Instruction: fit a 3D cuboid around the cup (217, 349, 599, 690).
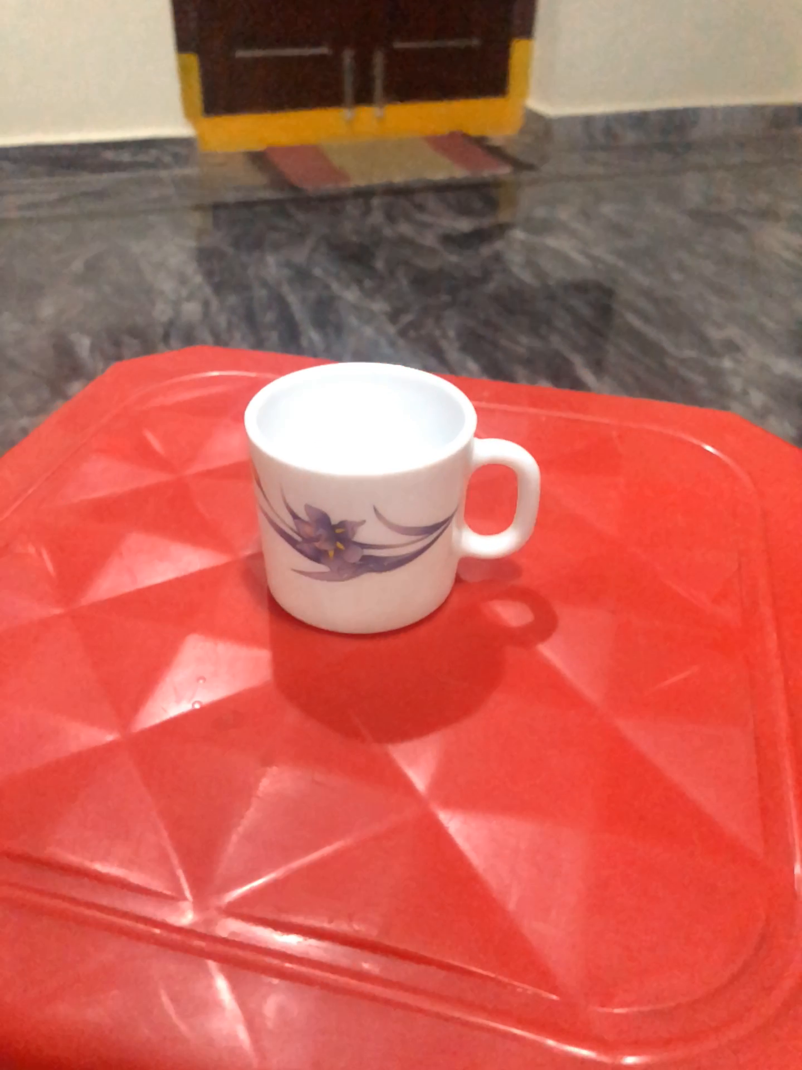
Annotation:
[{"bbox_3d":[-0.003,-0.008,0.259,0.090,0.060,0.070,-6,37,-10],"label":"cup"}]
